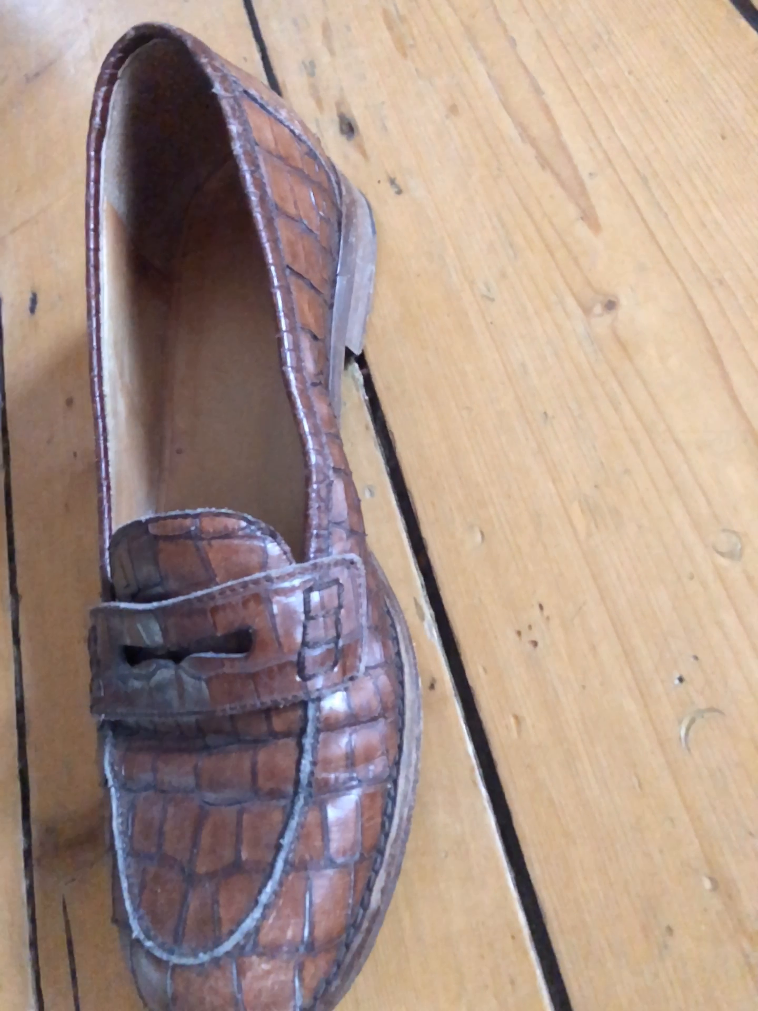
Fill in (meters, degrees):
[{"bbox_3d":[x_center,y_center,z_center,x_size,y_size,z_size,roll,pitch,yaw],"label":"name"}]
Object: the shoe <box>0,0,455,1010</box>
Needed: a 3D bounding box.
[{"bbox_3d":[-0.045,-0.030,0.245,0.080,0.100,0.321,-12,66,24],"label":"shoe"}]
